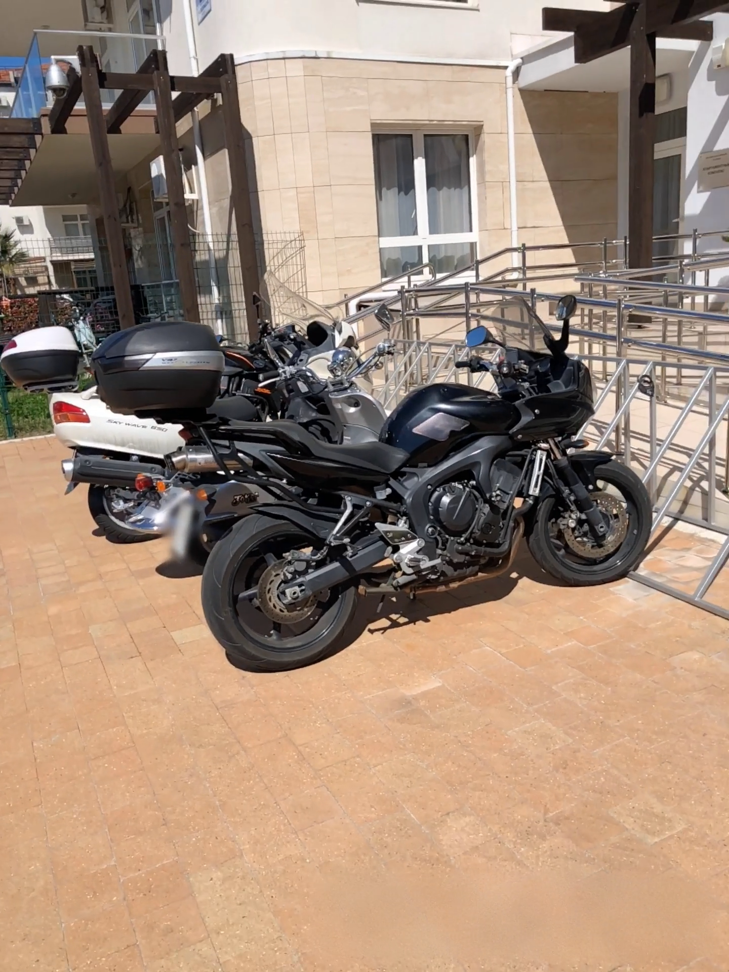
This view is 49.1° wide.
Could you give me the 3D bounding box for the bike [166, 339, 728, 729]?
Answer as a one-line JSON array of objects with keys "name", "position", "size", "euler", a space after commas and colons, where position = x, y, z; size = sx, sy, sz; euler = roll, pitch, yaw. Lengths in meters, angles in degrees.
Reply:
[{"name": "bike", "position": [0.406, 0.063, 3.010], "size": [1.921, 1.003, 0.606], "euler": [-11, 15, -23]}]
